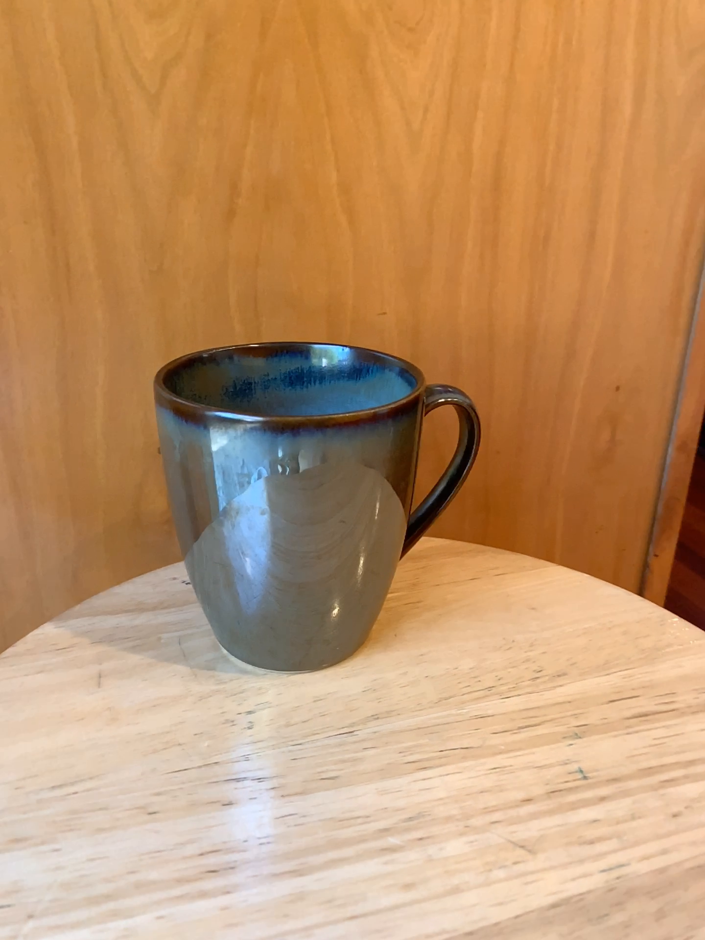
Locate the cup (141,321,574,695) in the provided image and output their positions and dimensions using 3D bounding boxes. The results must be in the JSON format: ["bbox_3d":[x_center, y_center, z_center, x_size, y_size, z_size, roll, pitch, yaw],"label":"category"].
[{"bbox_3d":[-0.005,0.004,0.251,0.120,0.090,0.080,-6,23,-16],"label":"cup"}]
